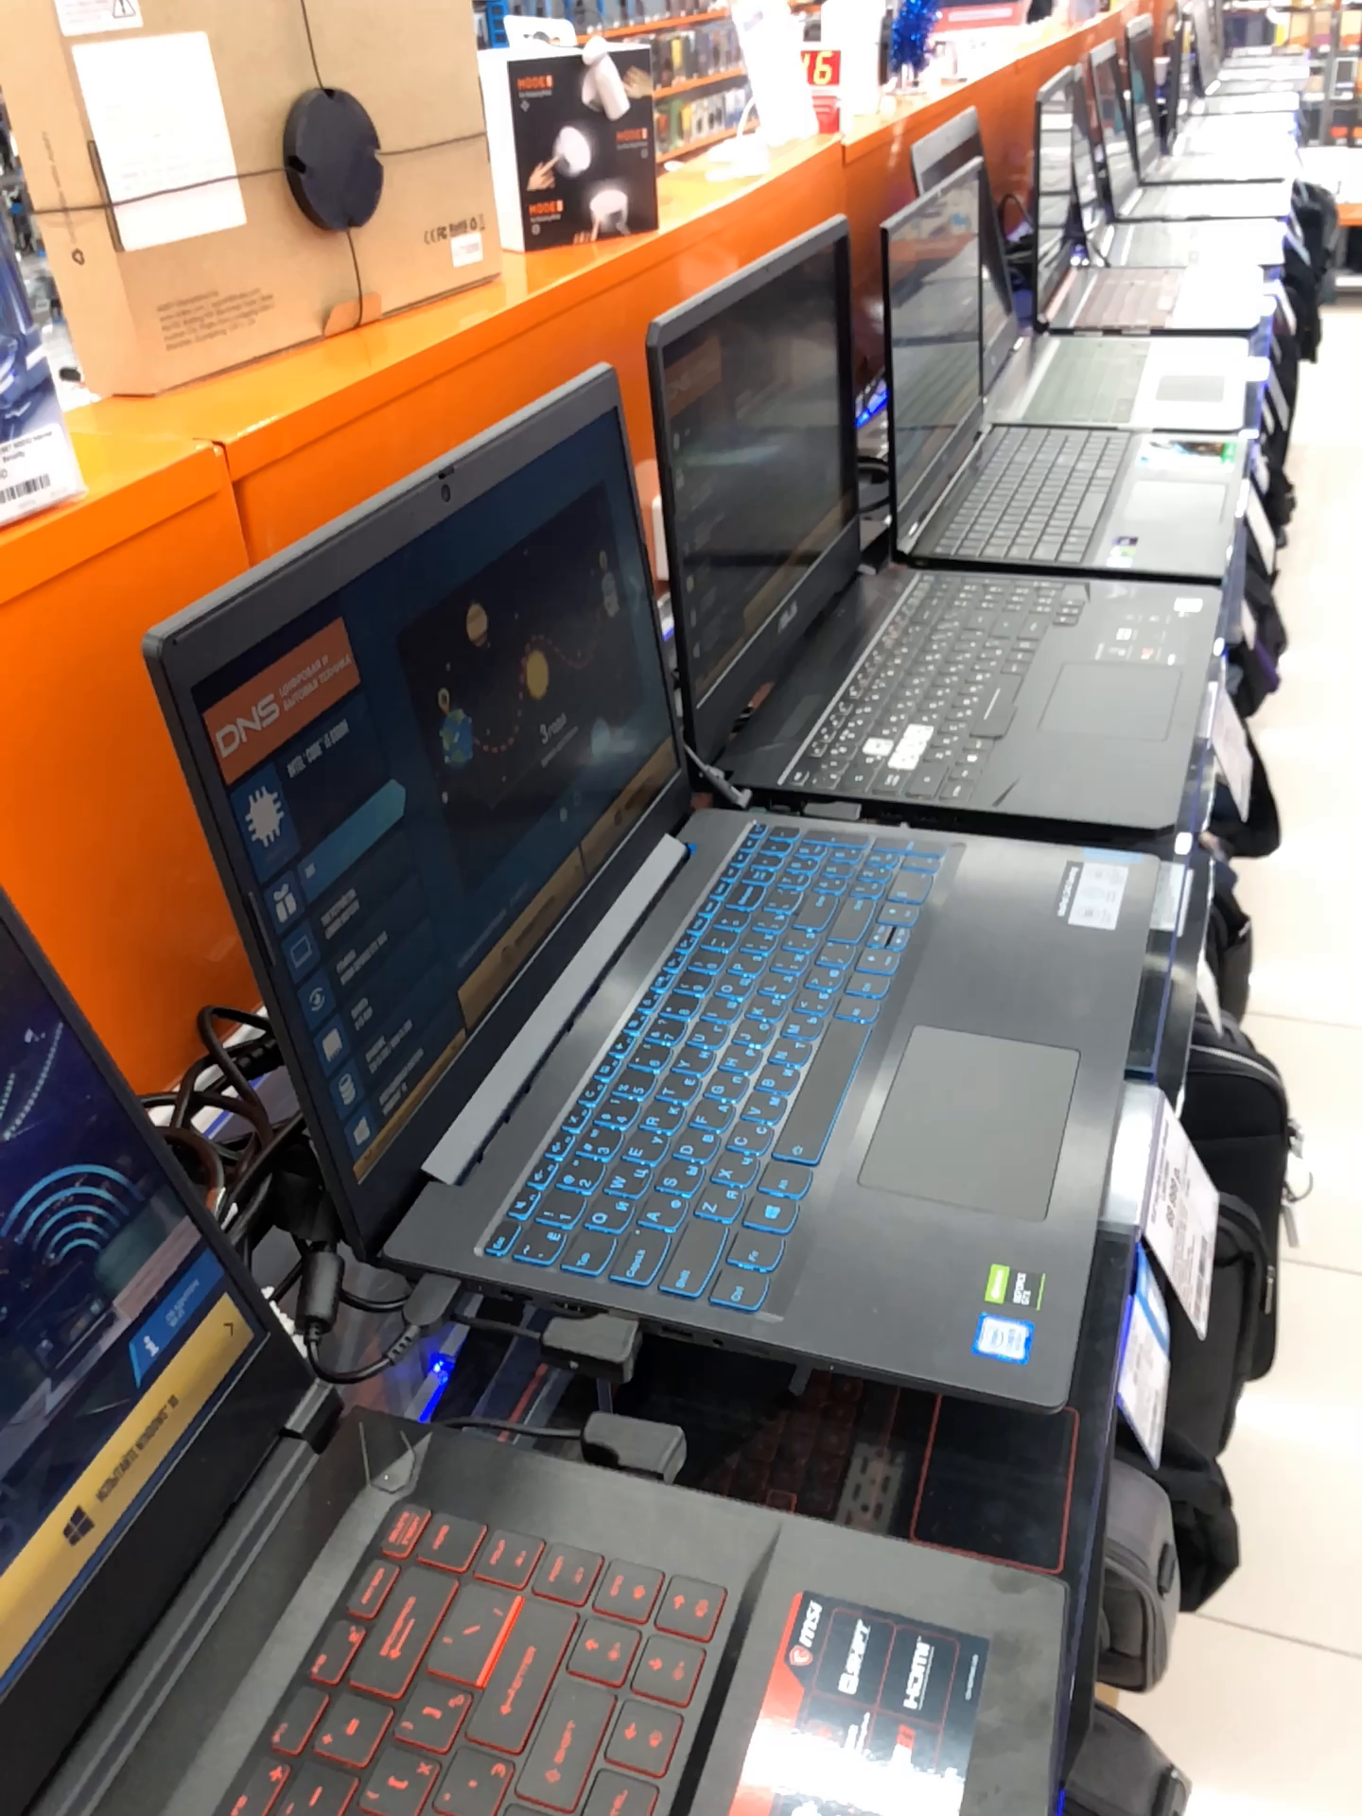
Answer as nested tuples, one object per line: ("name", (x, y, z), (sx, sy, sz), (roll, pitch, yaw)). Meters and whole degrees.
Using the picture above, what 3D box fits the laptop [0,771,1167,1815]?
("laptop", (-0.101, 0.168, 0.262), (0.319, 0.224, 0.357), (7, 33, 17))

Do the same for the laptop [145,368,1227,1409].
("laptop", (0.045, -0.051, 0.591), (0.278, 0.235, 0.358), (7, 33, 19))

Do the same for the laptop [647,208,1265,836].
("laptop", (0.181, -0.255, 0.897), (0.273, 0.244, 0.369), (8, 34, 19))
